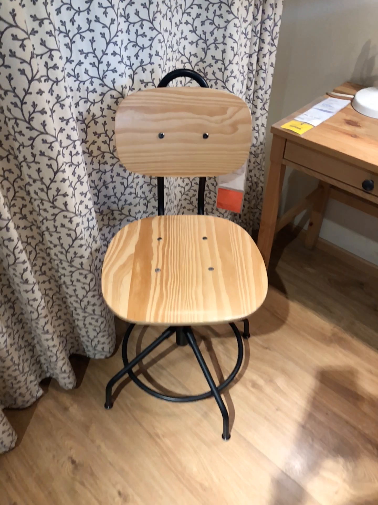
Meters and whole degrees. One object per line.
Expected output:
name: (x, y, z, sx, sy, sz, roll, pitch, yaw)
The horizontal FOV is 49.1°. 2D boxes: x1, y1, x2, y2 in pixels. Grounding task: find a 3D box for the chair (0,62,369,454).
chair: (-0.019, 0.042, 1.049, 0.520, 0.815, 0.553, -2, 42, -2)
